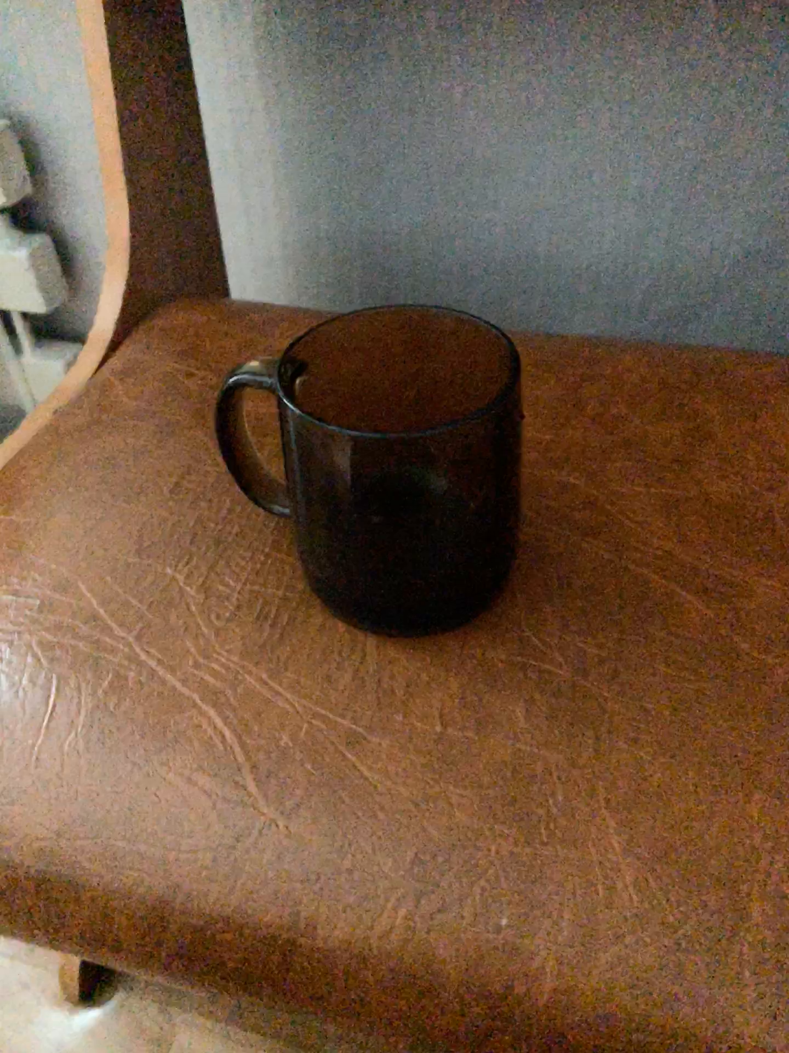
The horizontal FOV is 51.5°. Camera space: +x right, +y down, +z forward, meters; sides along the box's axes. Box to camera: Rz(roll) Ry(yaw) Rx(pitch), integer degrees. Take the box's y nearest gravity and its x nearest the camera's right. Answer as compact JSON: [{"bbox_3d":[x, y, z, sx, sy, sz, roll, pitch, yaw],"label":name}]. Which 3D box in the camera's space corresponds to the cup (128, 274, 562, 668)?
[{"bbox_3d":[-0.013,-0.025,0.298,0.120,0.089,0.081,15,44,19],"label":"cup"}]
